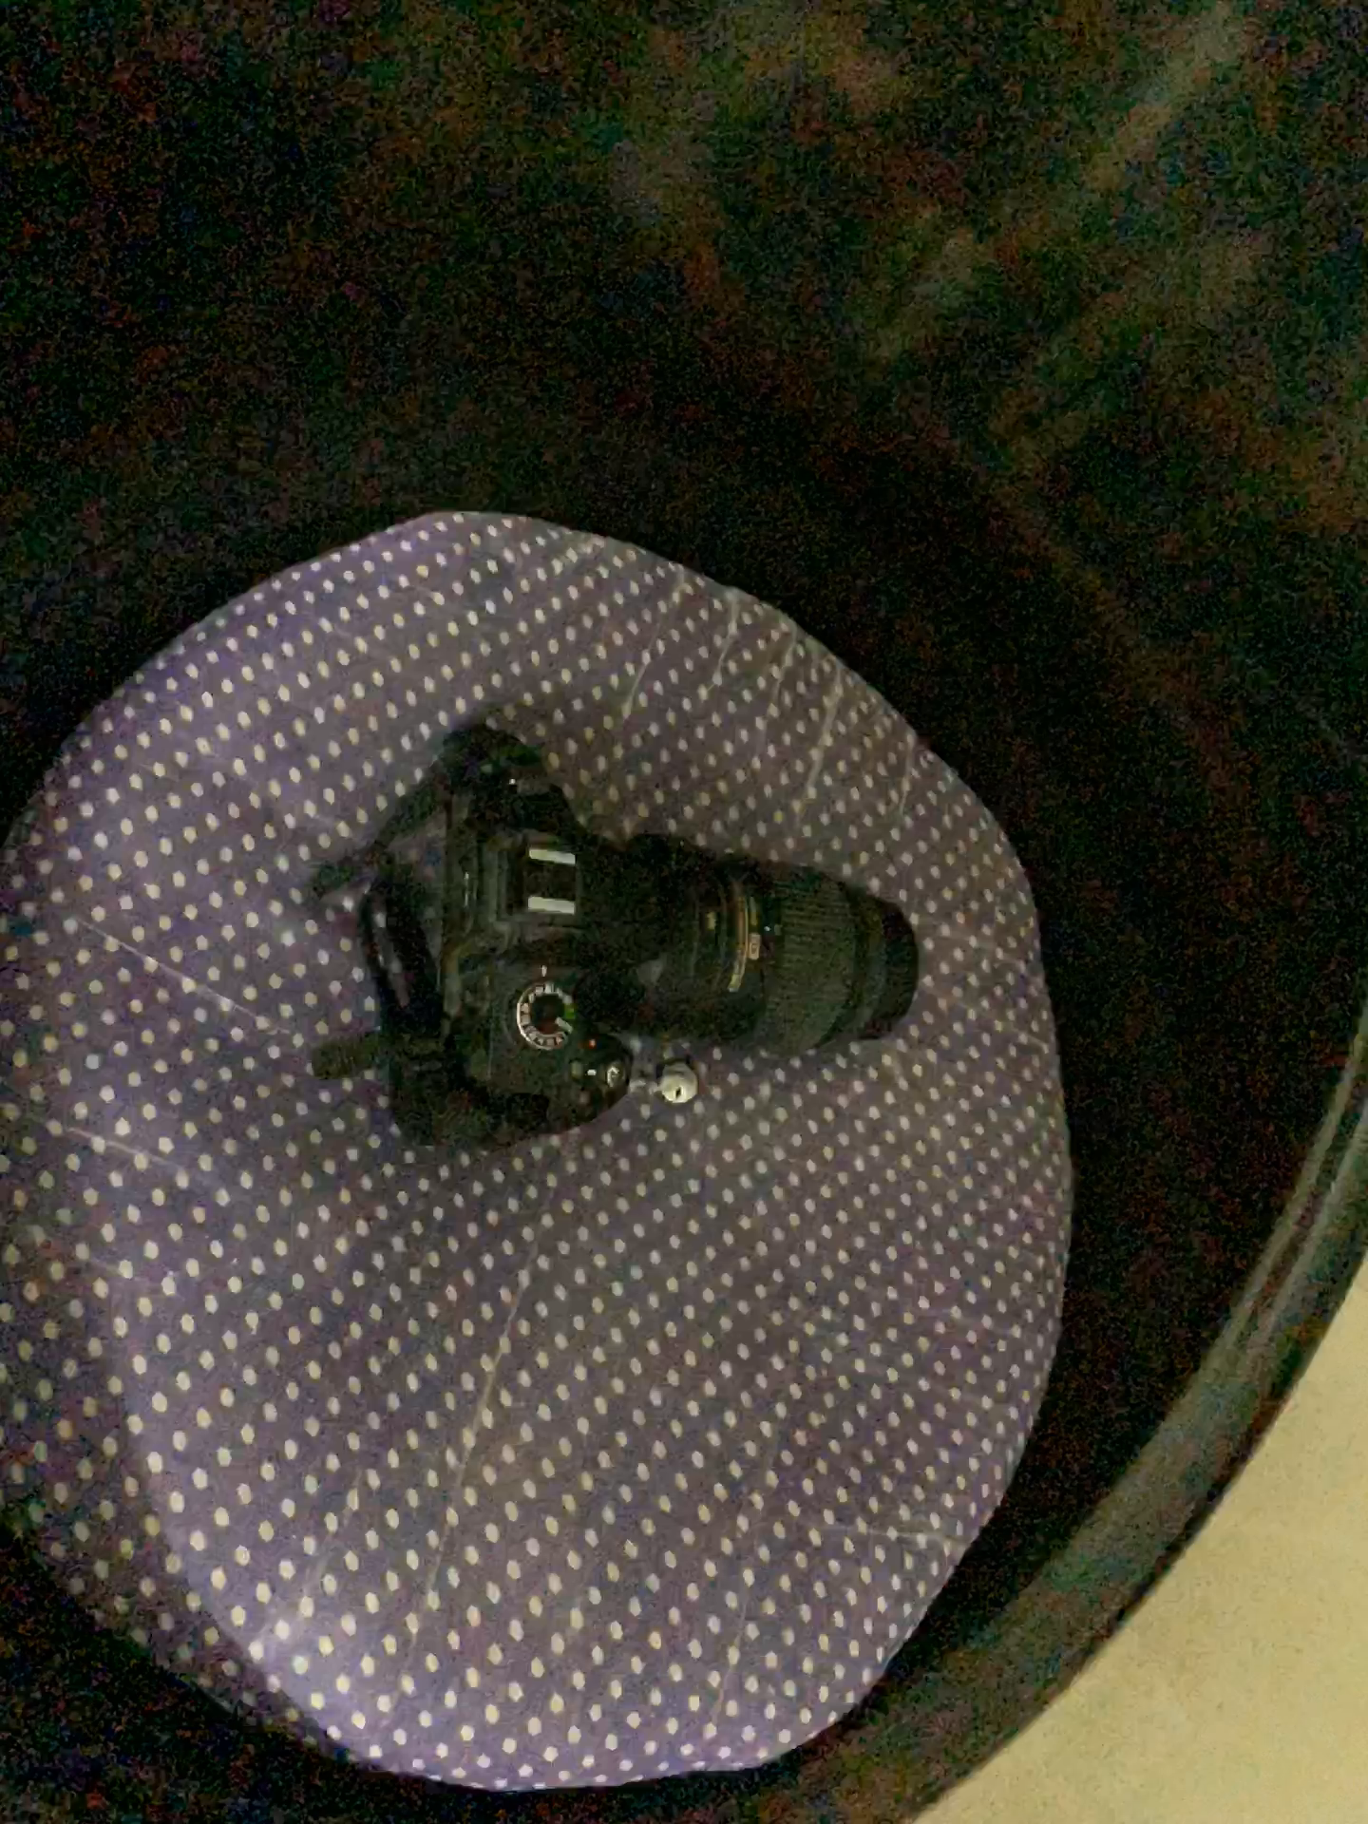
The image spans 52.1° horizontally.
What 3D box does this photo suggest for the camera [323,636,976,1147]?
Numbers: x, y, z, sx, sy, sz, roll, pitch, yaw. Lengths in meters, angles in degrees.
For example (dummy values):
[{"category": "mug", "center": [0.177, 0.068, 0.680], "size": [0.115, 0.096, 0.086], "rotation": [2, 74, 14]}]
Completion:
[{"category": "camera", "center": [-0.013, 0.006, 0.496], "size": [0.201, 0.100, 0.140], "rotation": [6, 72, -31]}]
